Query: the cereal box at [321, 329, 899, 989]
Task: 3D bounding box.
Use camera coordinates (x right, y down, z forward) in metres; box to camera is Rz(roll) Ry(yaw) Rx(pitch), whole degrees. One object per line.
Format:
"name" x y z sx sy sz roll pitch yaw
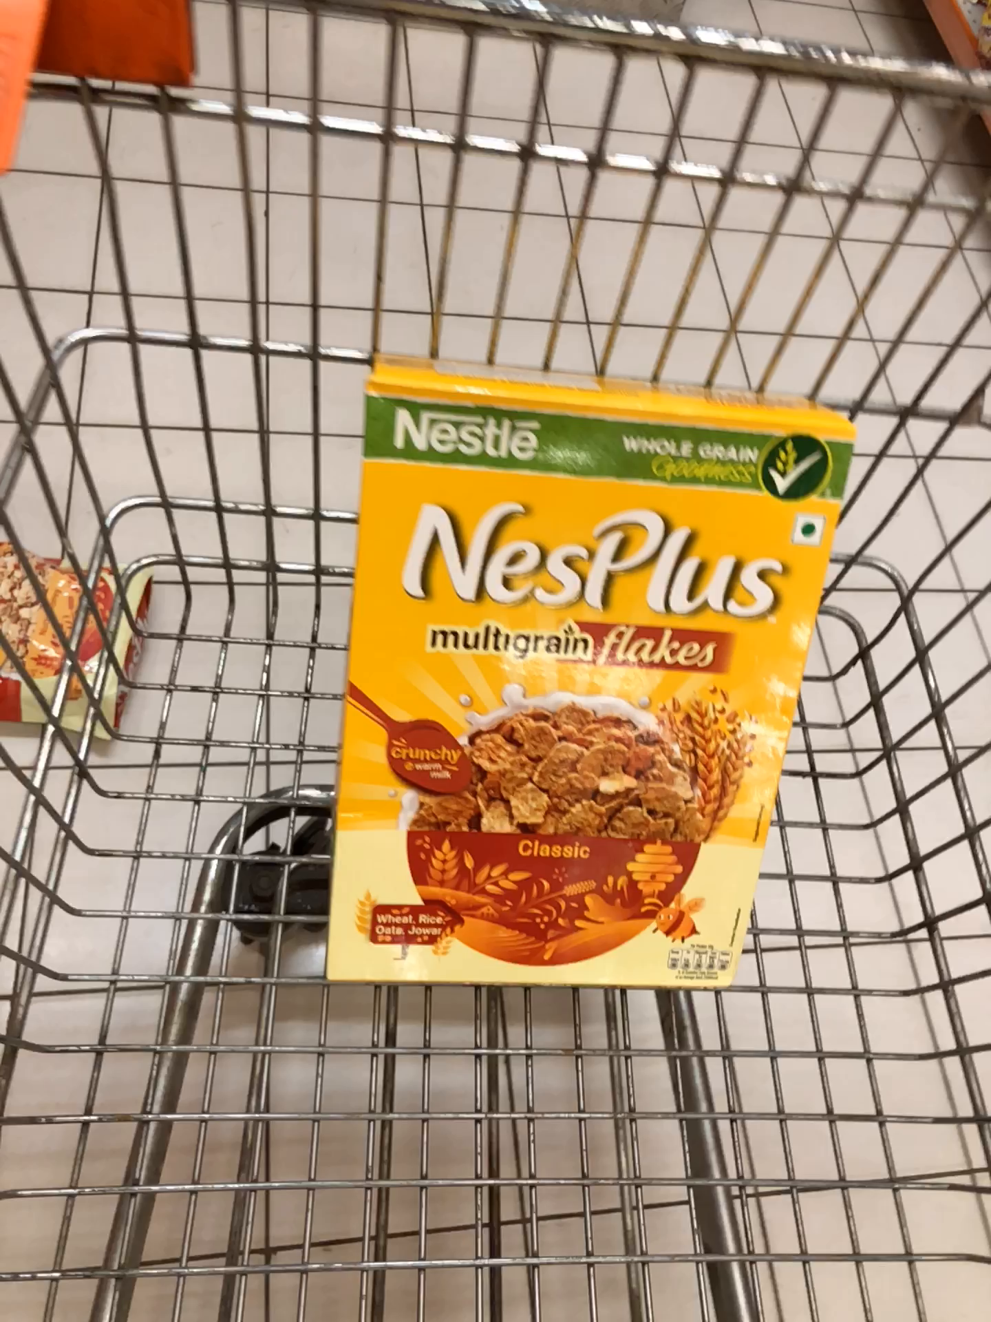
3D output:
"cereal box" 0.031 0.003 0.460 0.190 0.249 0.090 4 19 -9
